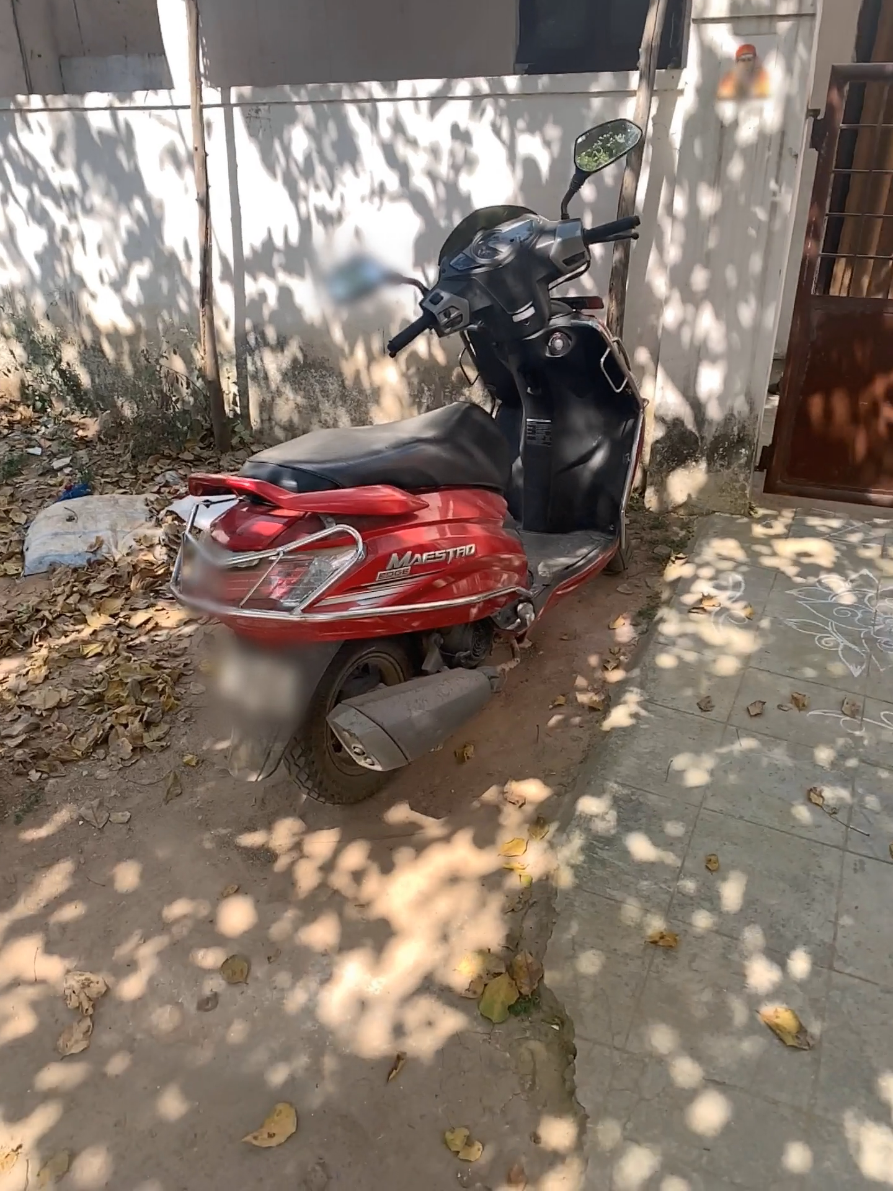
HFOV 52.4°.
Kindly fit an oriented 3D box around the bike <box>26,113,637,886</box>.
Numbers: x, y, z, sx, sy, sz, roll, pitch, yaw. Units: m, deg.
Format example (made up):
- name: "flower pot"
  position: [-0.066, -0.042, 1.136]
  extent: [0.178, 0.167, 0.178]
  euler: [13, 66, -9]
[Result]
- name: "bike"
  position: [-0.100, -0.484, 2.423]
  extent: [0.736, 1.155, 1.766]
  euler: [11, 36, 22]
